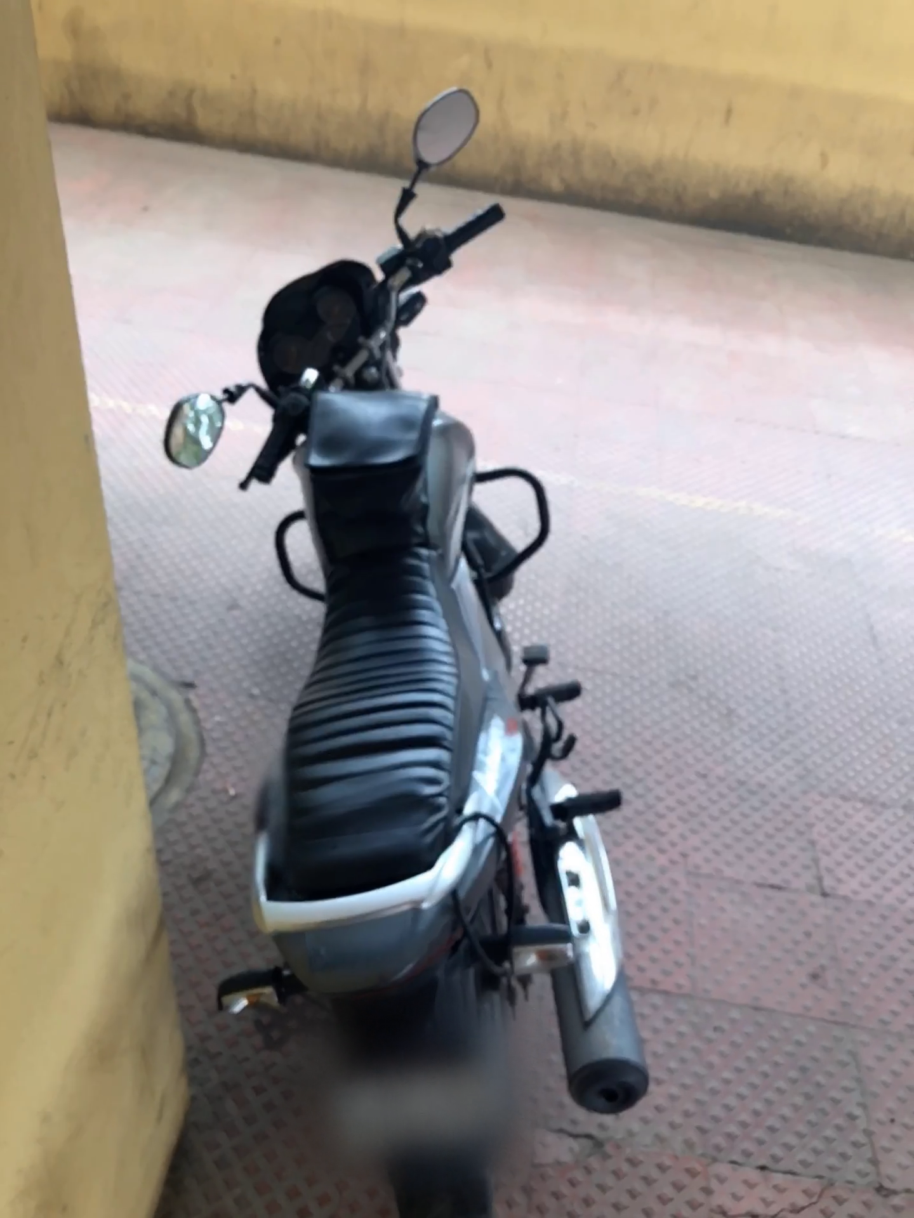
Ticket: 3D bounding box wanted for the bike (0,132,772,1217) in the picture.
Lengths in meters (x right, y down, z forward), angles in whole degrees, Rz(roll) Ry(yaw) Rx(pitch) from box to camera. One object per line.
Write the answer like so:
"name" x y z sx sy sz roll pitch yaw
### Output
"bike" -0.251 0.045 1.785 0.720 1.166 1.476 -1 41 -10
